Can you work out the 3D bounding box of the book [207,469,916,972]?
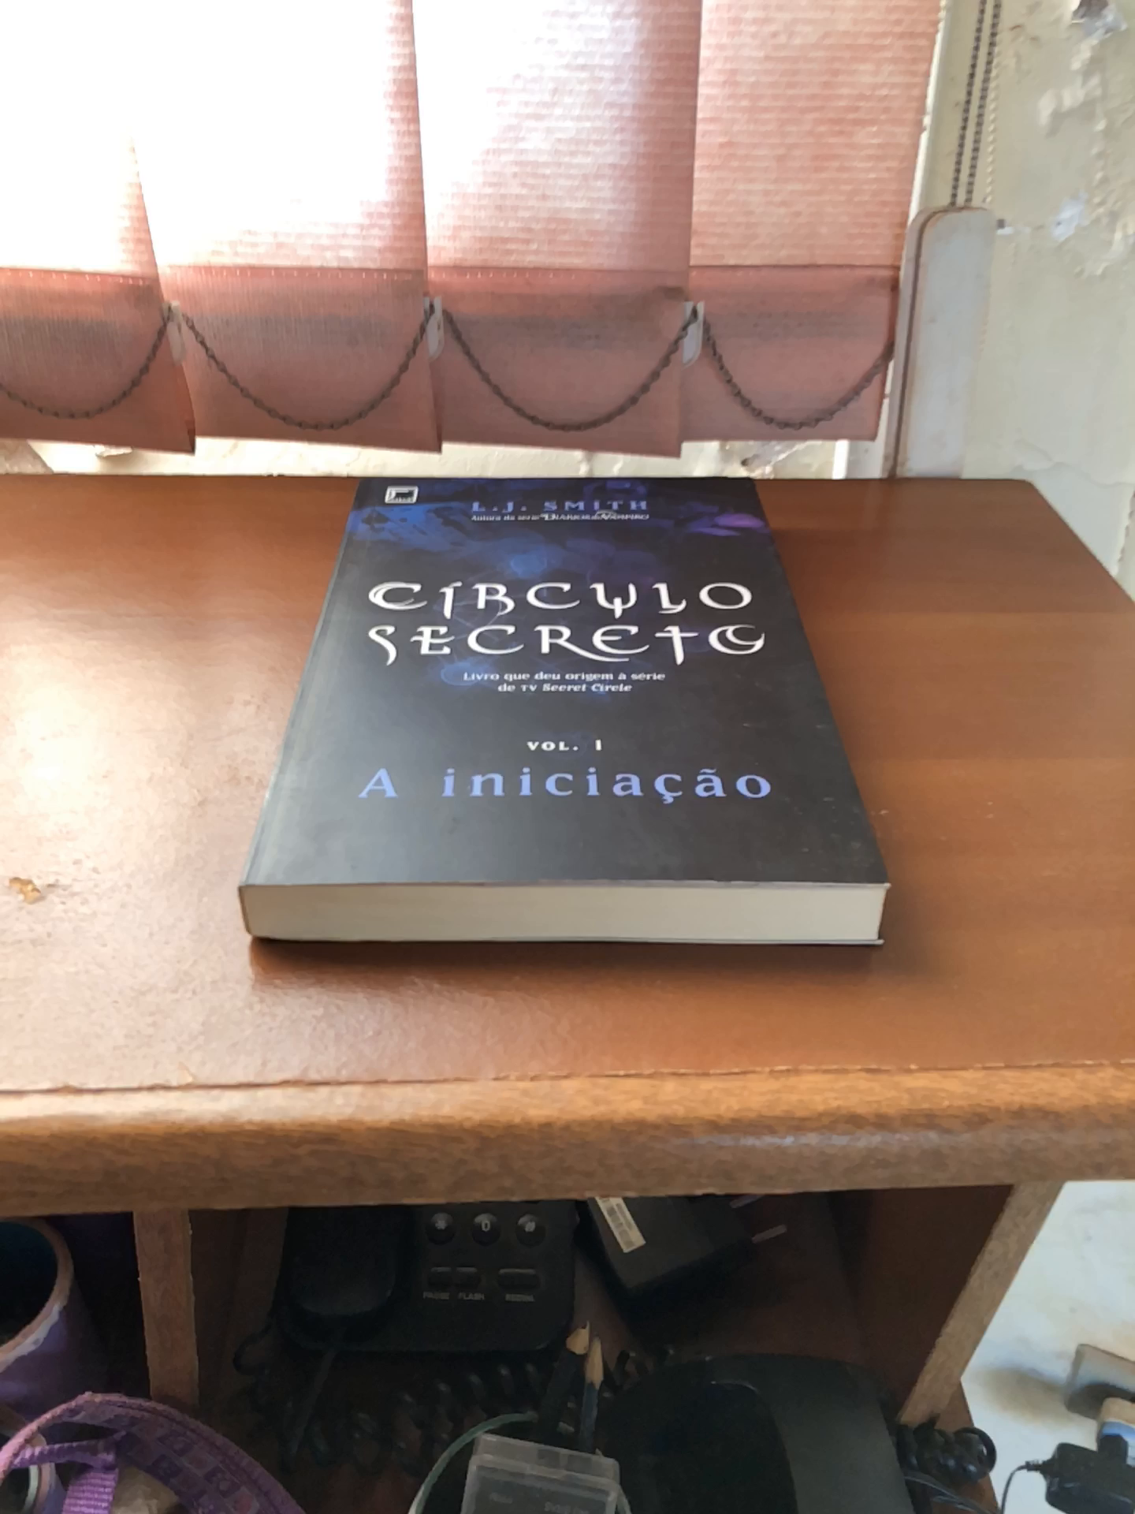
[{"bbox_3d":[-0.004,-0.026,0.343,0.140,0.024,0.215,0,34,-3],"label":"book"}]
